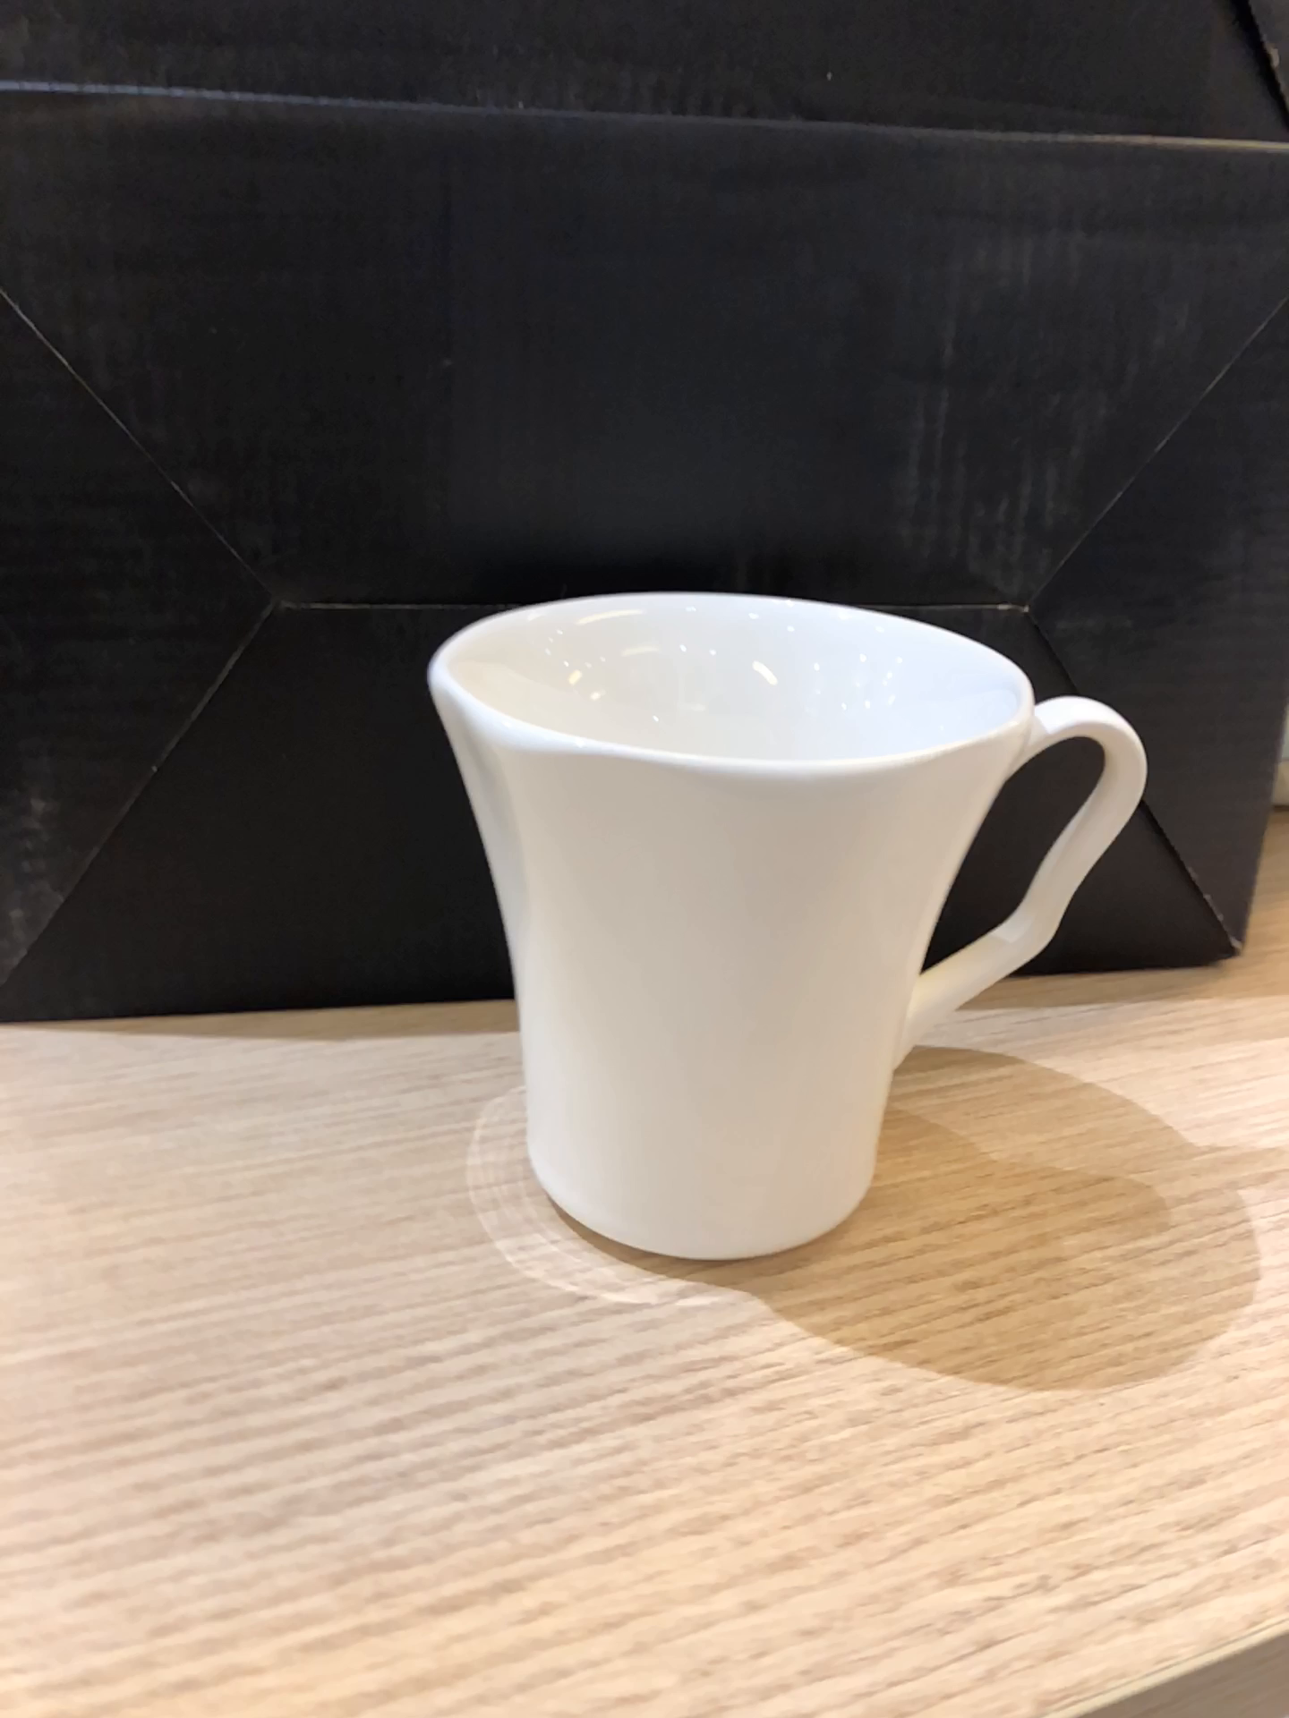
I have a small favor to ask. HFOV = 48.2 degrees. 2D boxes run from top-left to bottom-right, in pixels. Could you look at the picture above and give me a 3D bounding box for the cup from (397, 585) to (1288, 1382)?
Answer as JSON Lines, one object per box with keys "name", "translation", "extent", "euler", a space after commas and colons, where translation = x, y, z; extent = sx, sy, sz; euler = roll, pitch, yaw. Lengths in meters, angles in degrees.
{"name": "cup", "translation": [0.023, 0.009, 0.212], "extent": [0.110, 0.079, 0.080], "euler": [-3, 24, -13]}
